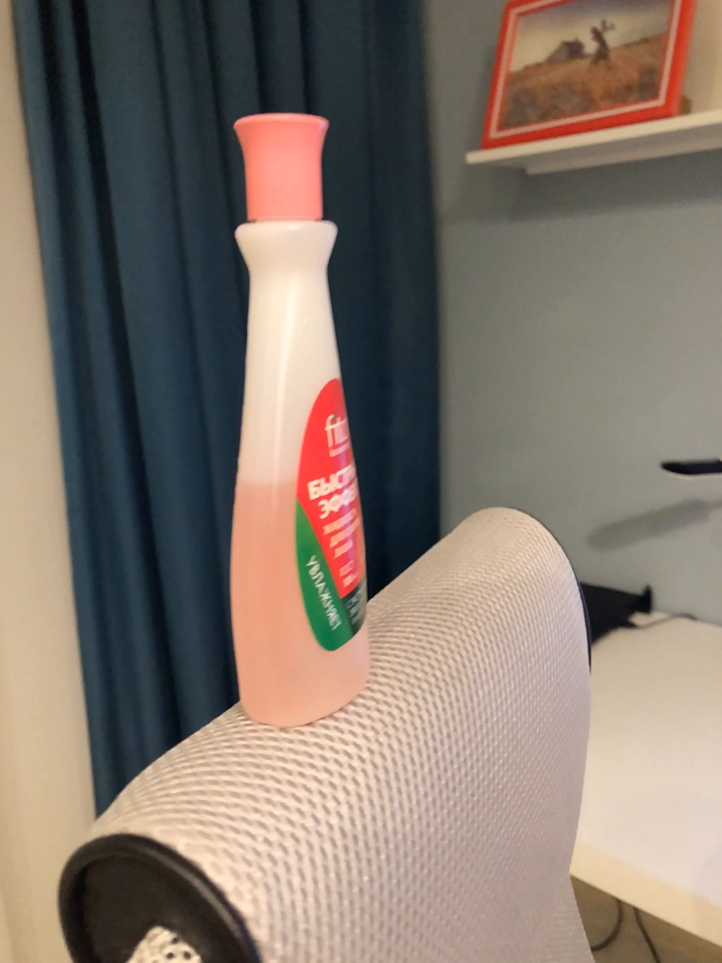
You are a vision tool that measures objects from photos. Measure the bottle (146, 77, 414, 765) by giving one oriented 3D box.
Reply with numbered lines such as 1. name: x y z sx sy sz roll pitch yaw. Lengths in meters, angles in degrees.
1. bottle: -0.015 -0.013 0.214 0.039 0.157 0.056 1 14 19
